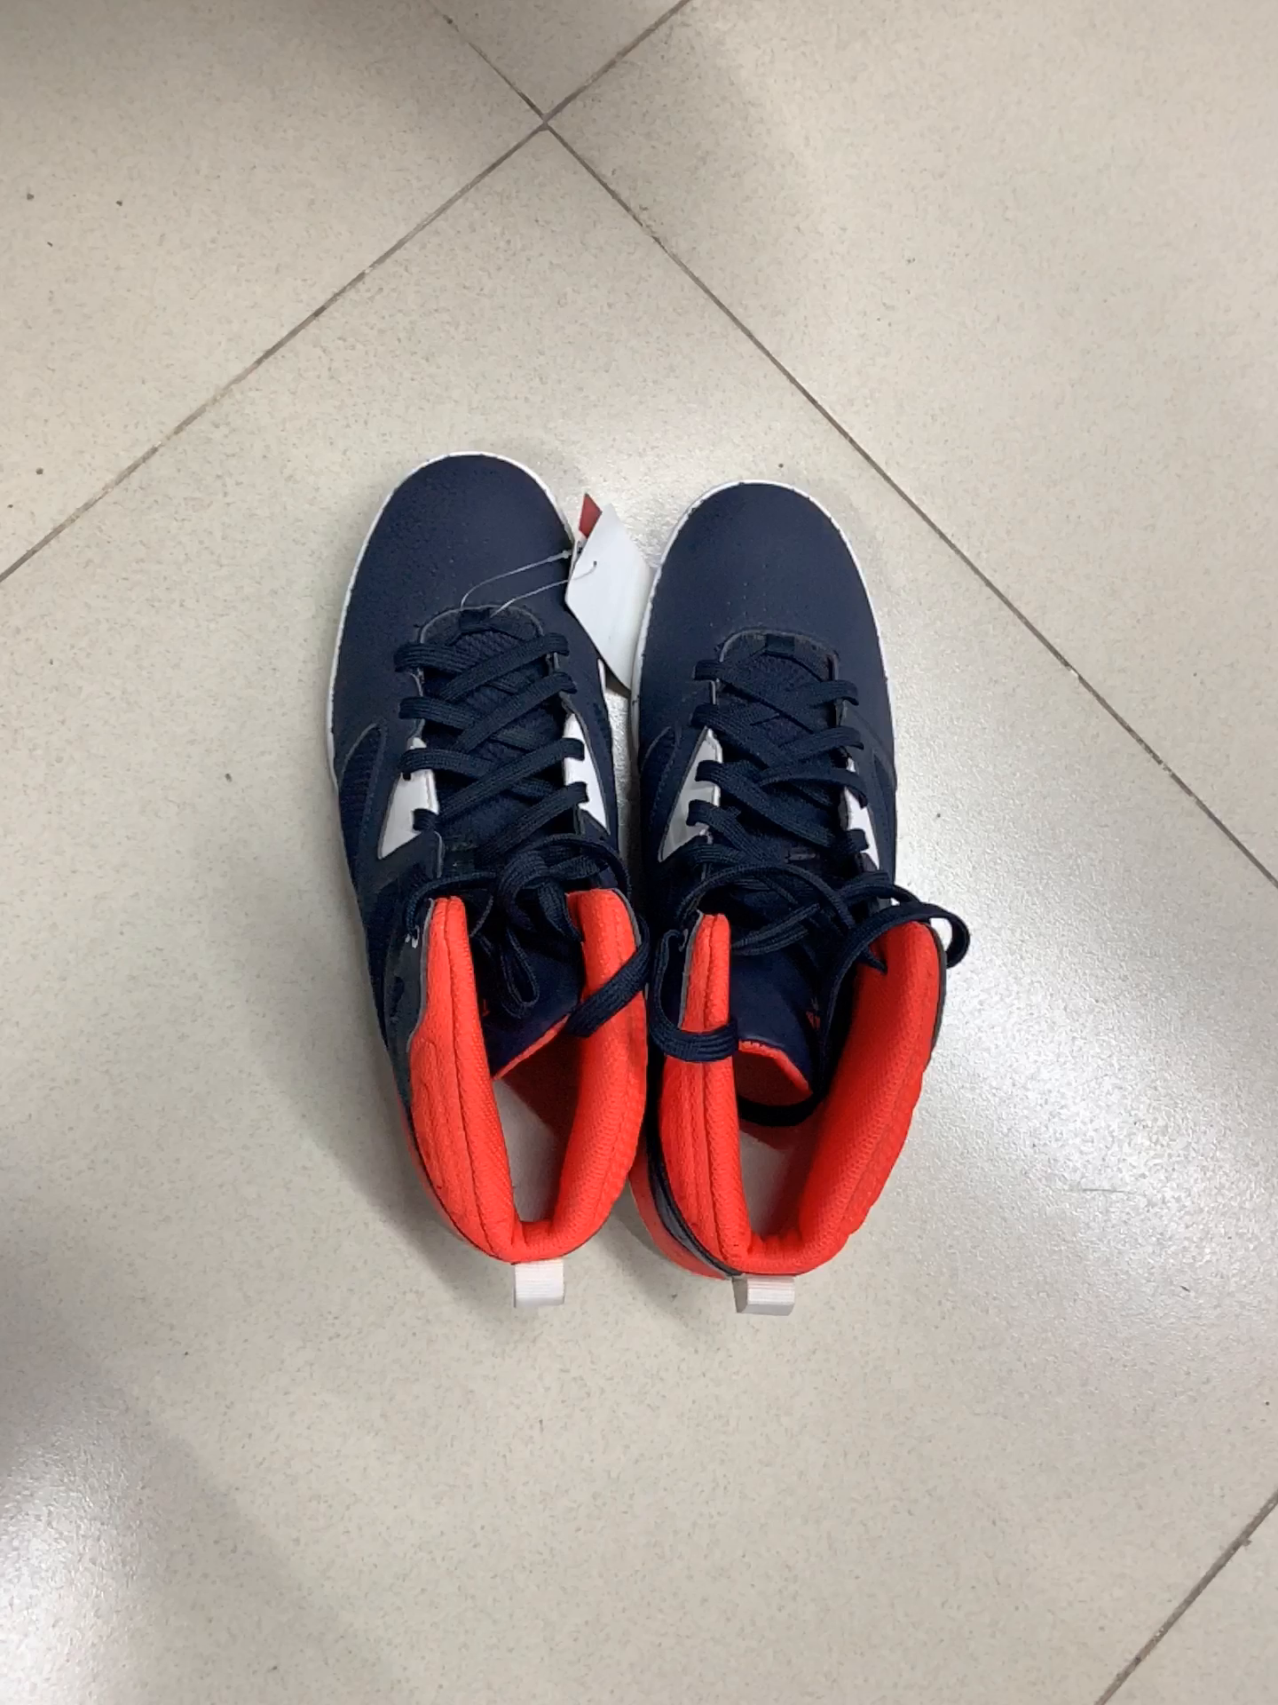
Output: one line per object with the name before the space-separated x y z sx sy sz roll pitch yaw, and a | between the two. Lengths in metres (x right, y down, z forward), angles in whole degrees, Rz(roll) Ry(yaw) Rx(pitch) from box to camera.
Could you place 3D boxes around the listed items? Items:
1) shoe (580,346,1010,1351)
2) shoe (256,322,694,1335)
shoe | 0.046 0.001 0.444 0.110 0.120 0.290 4 84 -4
shoe | -0.053 -0.009 0.430 0.110 0.100 0.290 -3 85 -5
